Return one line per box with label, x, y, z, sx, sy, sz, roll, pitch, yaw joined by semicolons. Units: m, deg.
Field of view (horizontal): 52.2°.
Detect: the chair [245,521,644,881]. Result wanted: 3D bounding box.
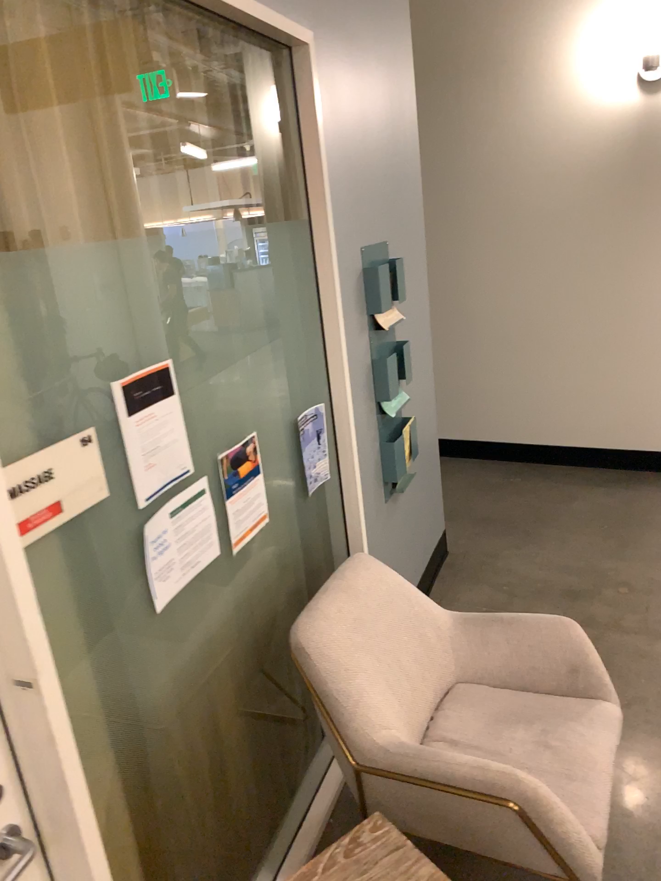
chair;0.394;0.851;1.921;0.871;0.926;0.782;1;19;24
